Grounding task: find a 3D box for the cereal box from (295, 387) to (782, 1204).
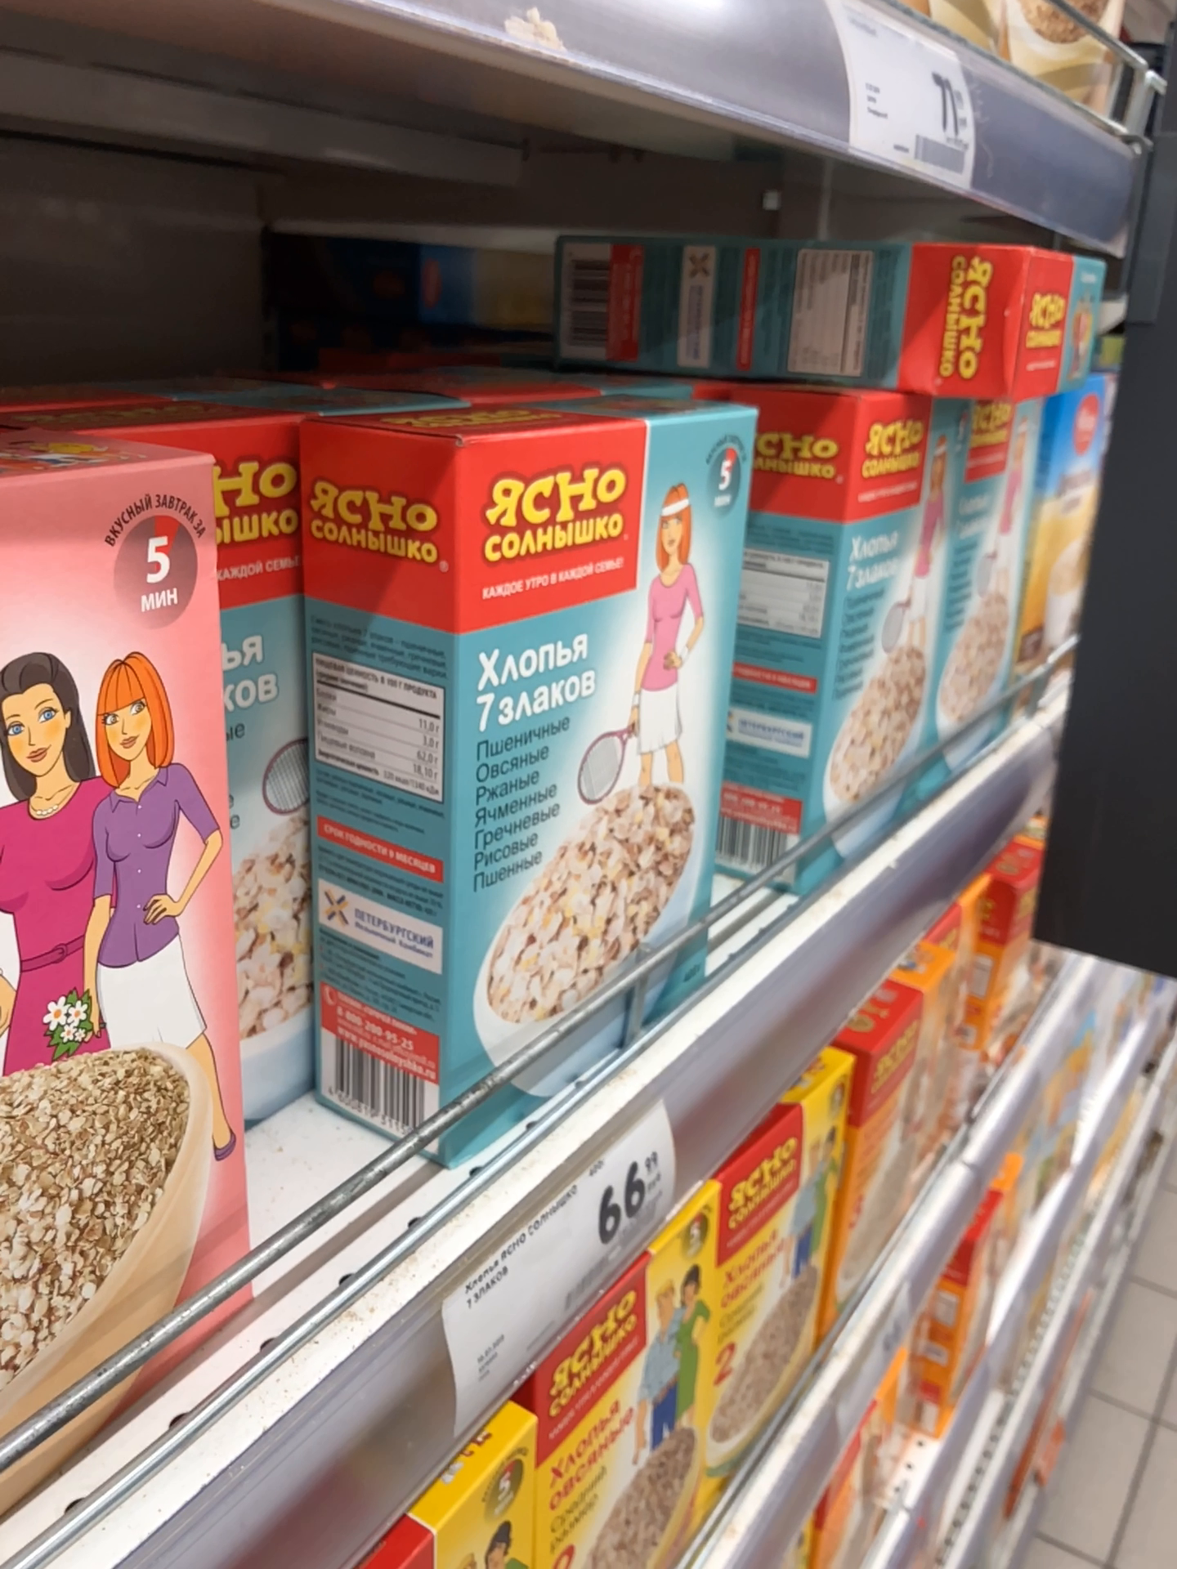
[{"bbox_3d":[-0.009,-0.008,0.366,0.050,0.189,0.141,16,24,31],"label":"cereal box"}]
